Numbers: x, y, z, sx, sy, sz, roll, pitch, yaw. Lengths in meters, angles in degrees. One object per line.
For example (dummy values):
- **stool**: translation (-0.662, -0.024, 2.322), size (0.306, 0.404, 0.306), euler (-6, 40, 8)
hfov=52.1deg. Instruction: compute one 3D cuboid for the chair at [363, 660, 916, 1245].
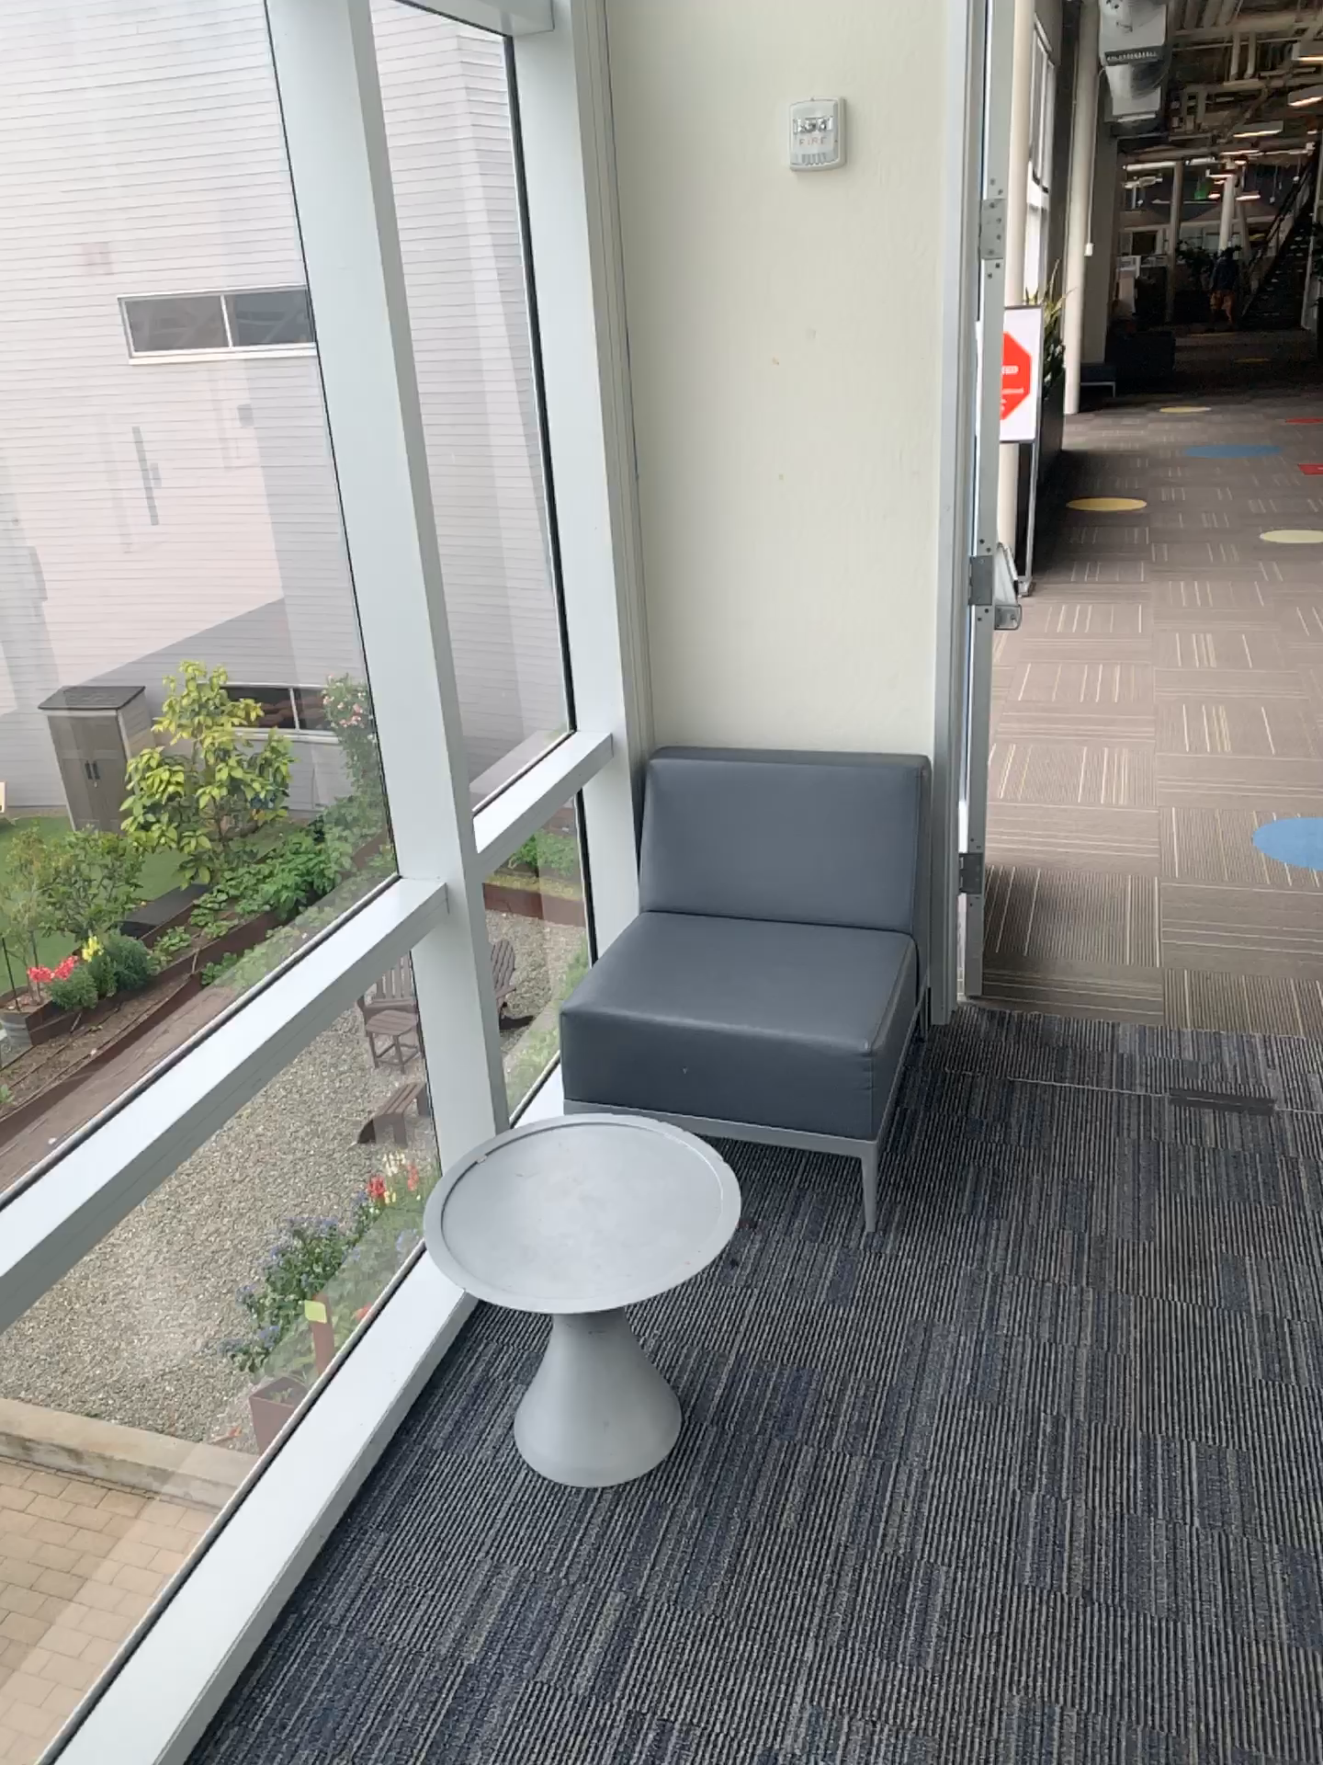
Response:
- **chair**: translation (0.038, 0.084, 3.294), size (1.001, 0.995, 1.004), euler (4, 24, 18)
